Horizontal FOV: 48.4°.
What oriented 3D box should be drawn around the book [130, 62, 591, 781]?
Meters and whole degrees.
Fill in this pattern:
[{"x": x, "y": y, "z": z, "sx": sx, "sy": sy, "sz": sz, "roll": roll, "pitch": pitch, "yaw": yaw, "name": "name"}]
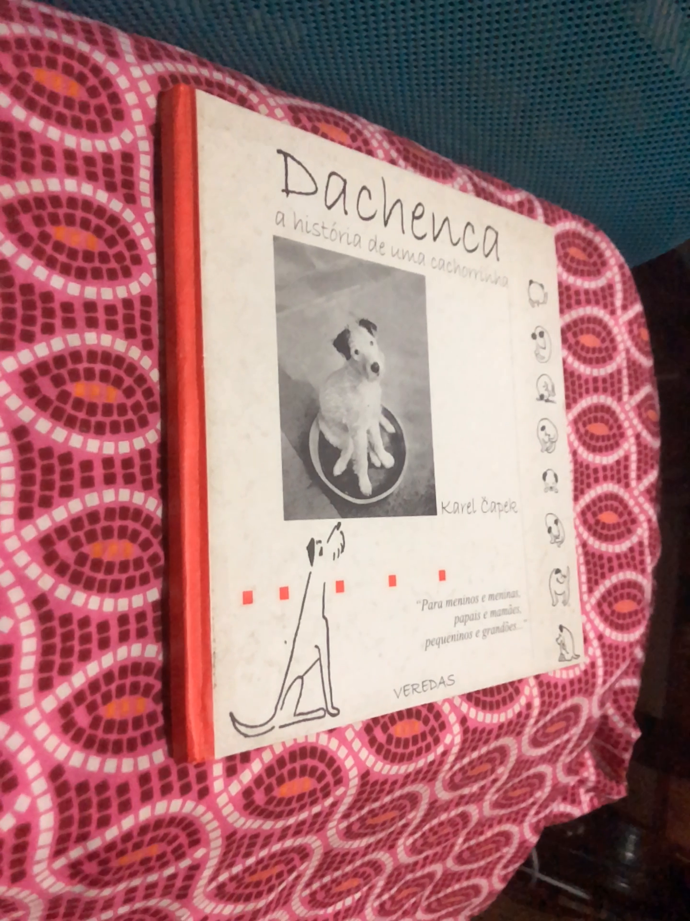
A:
[{"x": 0.020, "y": -0.013, "z": 0.306, "sx": 0.207, "sy": 0.027, "sz": 0.216, "roll": 2, "pitch": 82, "yaw": -42, "name": "book"}]
